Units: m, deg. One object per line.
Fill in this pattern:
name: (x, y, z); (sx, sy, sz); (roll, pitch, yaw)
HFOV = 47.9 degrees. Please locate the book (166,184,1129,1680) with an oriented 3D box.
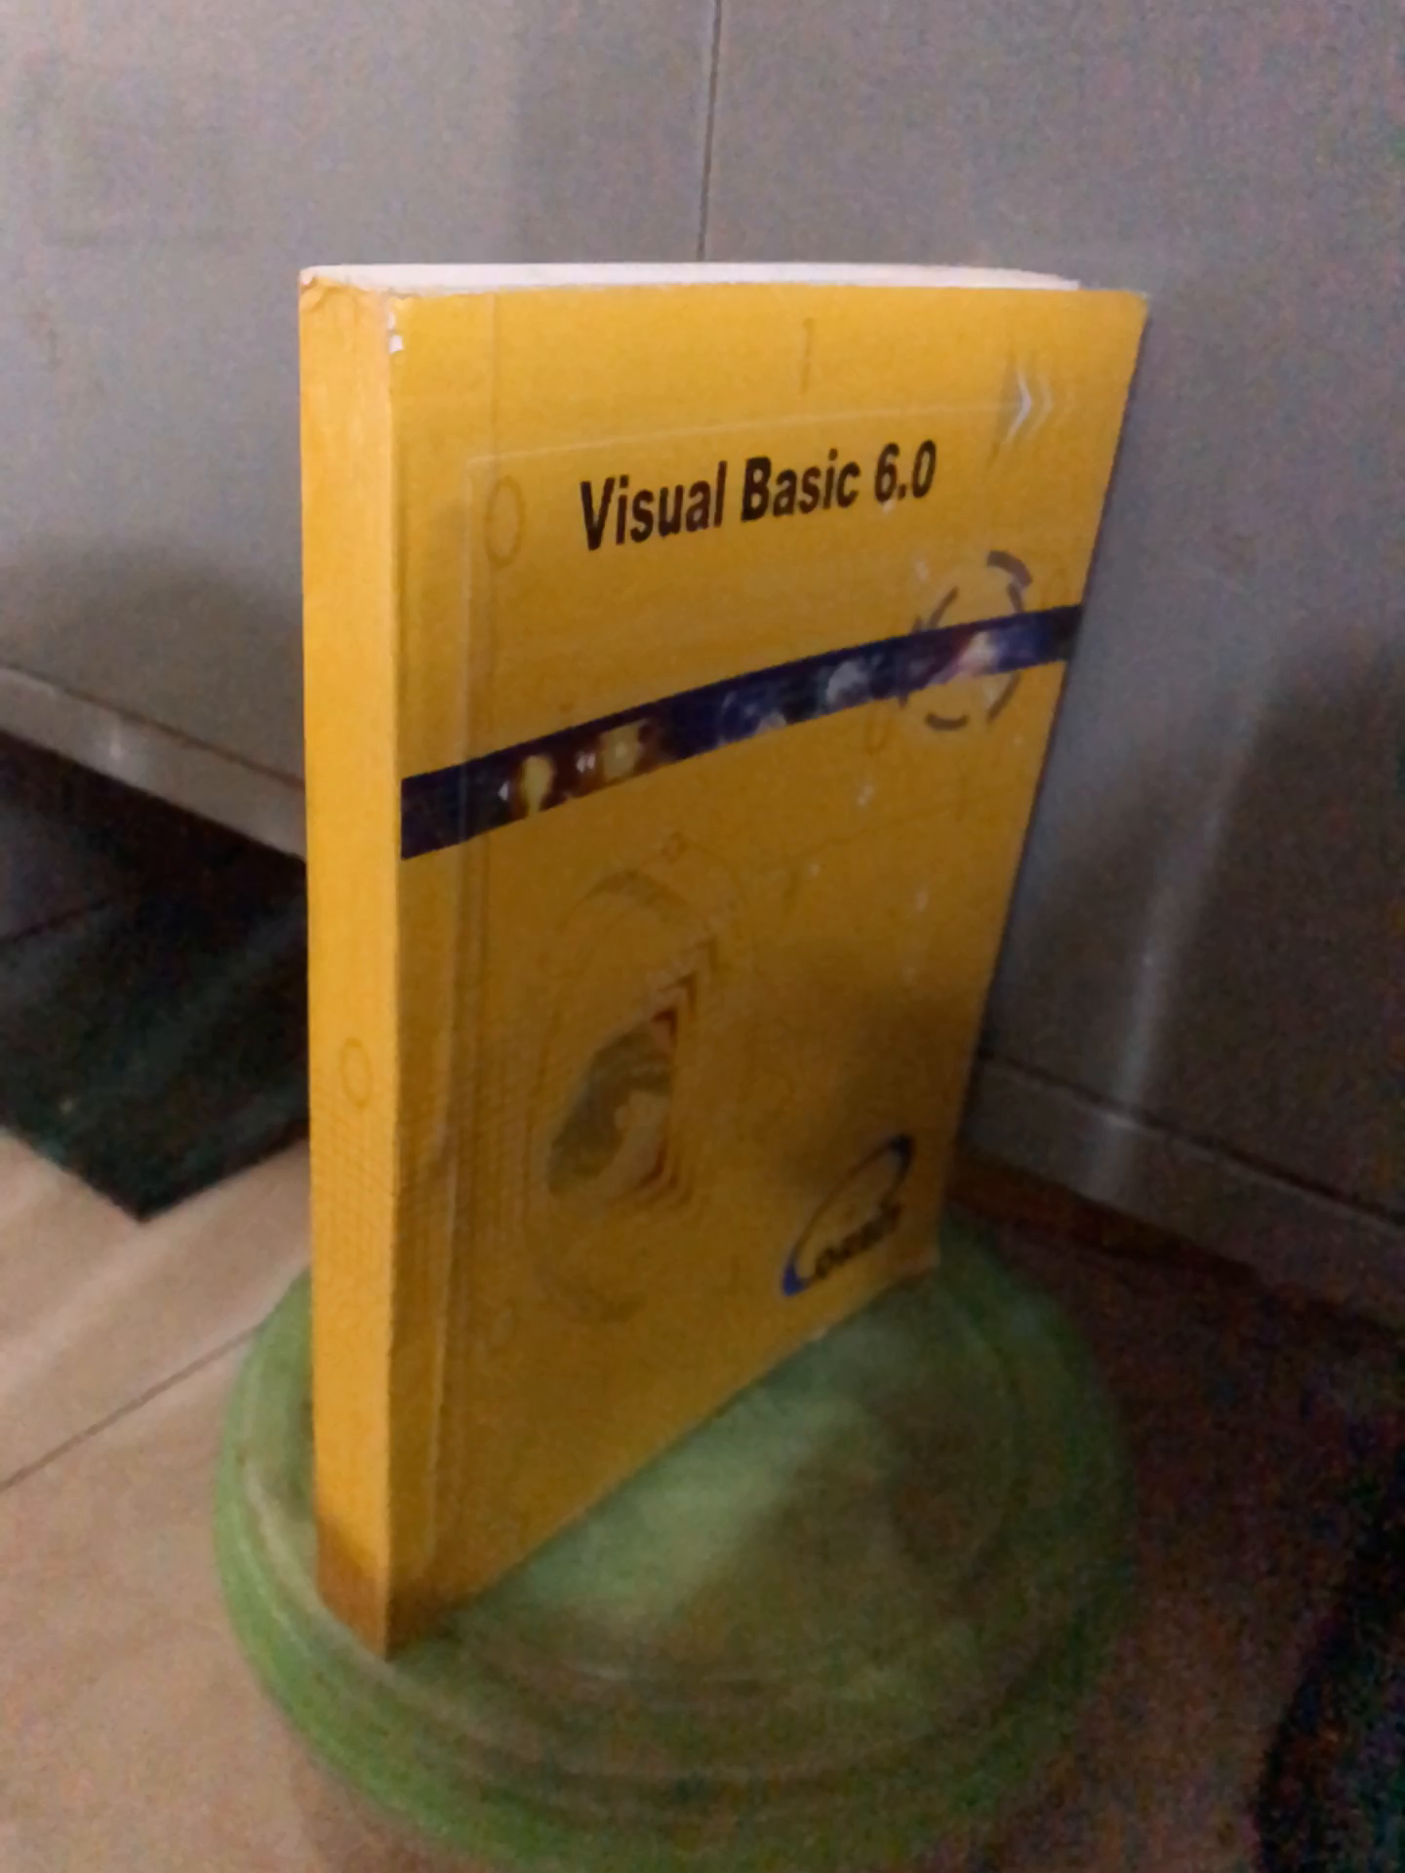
book: (-0.001, -0.010, 0.354); (0.040, 0.279, 0.221); (25, 33, 33)
